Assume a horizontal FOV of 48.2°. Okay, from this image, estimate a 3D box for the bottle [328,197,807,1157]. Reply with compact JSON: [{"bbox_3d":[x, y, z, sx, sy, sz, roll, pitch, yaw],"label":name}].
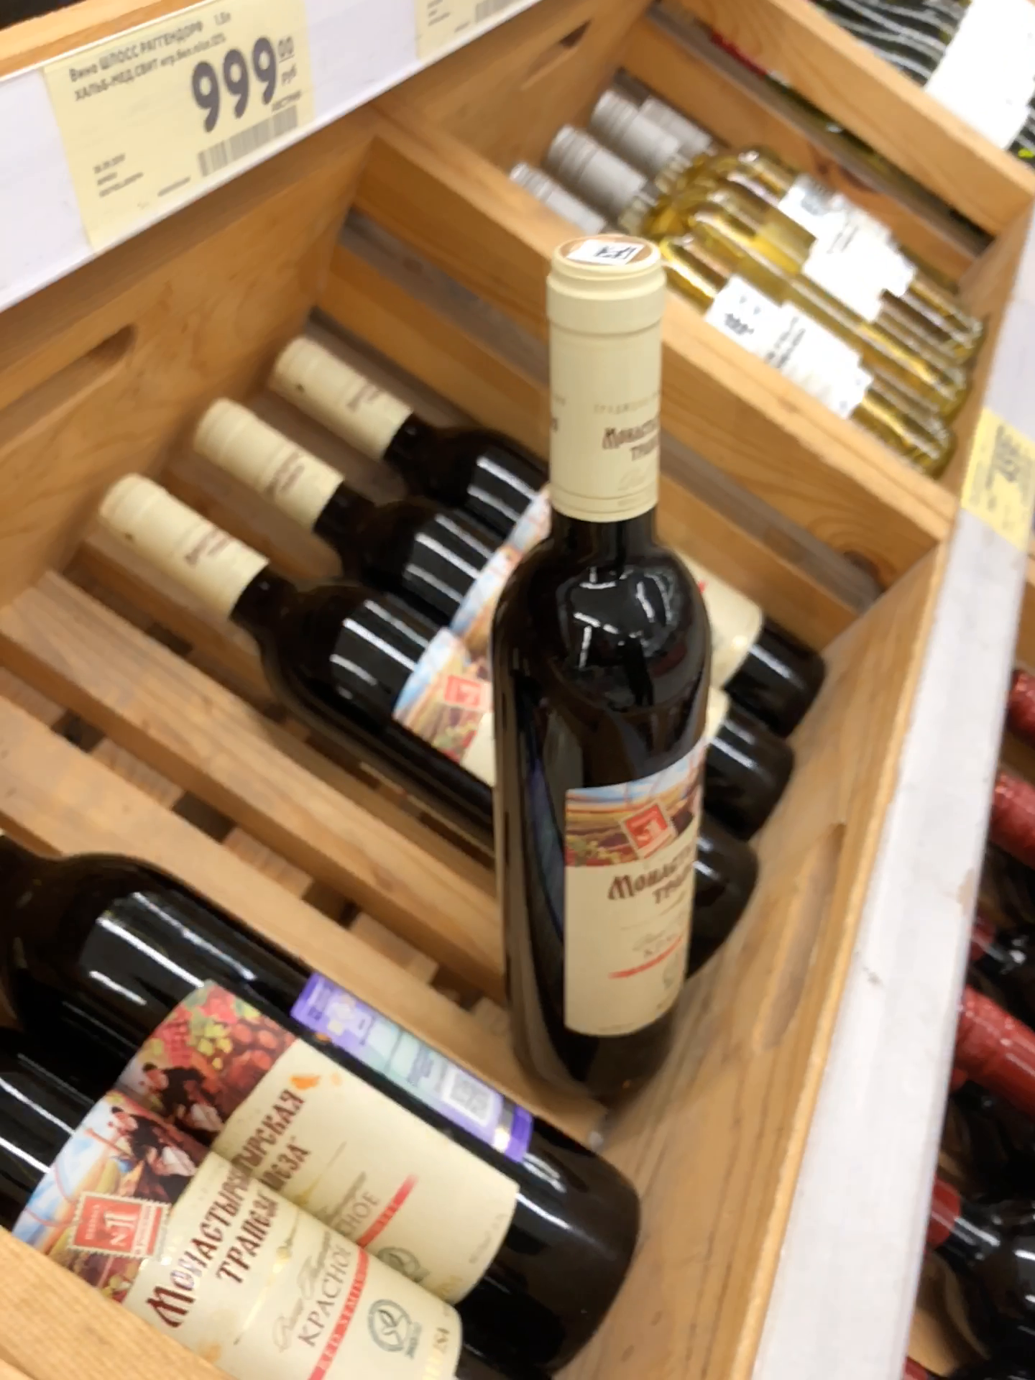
[{"bbox_3d":[0.019,0.021,0.368,0.080,0.308,0.080,-2,42,2],"label":"bottle"}]
